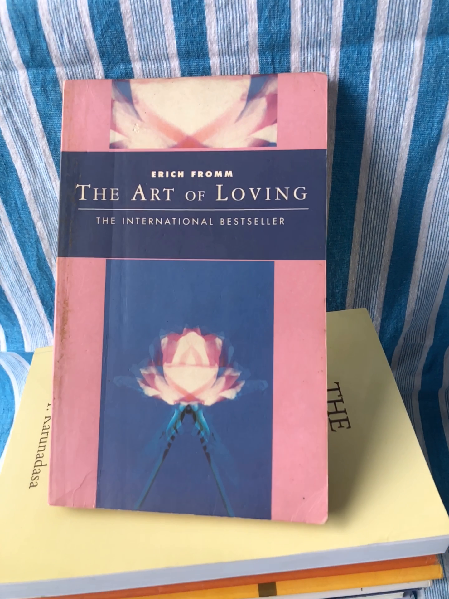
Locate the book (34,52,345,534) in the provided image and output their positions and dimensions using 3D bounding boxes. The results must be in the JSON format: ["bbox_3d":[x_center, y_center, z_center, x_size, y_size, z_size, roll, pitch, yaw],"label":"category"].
[{"bbox_3d":[-0.015,-0.005,0.215,0.129,0.015,0.193,0,87,8],"label":"book"}]
